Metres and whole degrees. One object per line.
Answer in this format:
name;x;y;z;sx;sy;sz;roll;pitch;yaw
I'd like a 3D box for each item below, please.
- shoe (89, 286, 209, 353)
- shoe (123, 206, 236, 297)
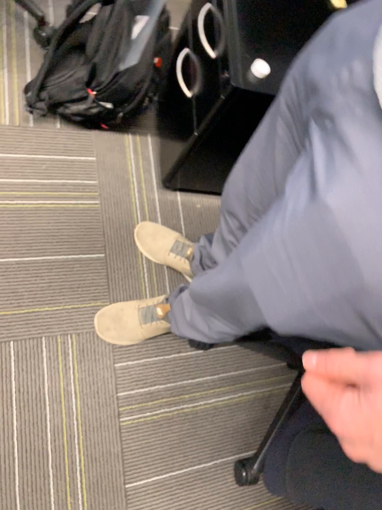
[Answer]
shoe;-0.117;0.179;1.107;0.302;0.098;0.126;-7;78;-23
shoe;-0.032;-0.004;1.161;0.301;0.098;0.107;31;66;-11
